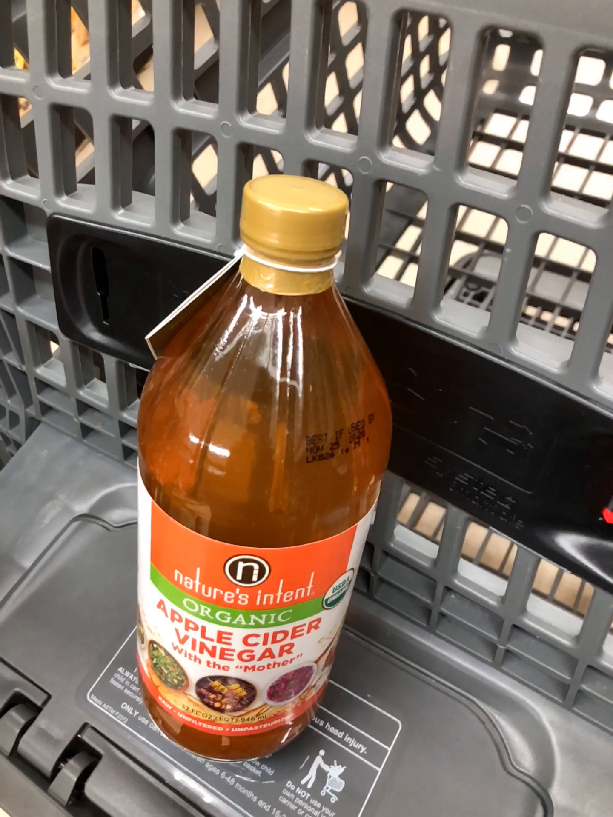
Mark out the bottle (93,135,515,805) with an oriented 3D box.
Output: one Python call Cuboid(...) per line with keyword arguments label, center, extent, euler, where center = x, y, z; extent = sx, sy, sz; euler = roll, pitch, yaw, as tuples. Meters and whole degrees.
Cuboid(label="bottle", center=(-0.018, 0.038, 0.262), extent=(0.100, 0.240, 0.090), euler=(8, 32, -4))
